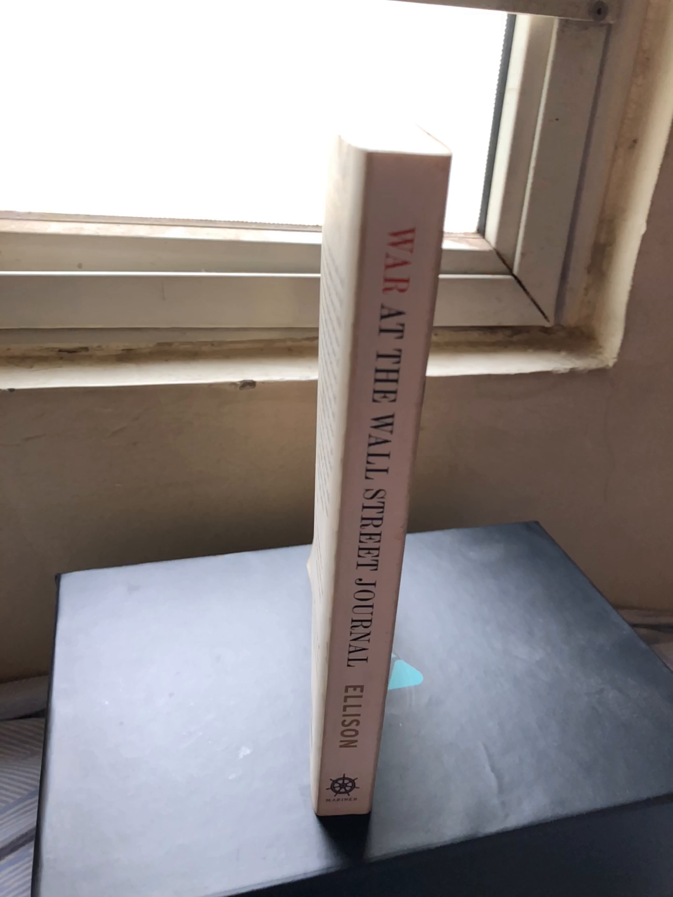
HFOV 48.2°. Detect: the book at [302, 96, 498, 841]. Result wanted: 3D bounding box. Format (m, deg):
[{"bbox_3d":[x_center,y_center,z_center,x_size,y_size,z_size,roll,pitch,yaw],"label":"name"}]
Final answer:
[{"bbox_3d":[0.010,-0.006,0.250,0.030,0.199,0.151,3,25,-1],"label":"book"}]
